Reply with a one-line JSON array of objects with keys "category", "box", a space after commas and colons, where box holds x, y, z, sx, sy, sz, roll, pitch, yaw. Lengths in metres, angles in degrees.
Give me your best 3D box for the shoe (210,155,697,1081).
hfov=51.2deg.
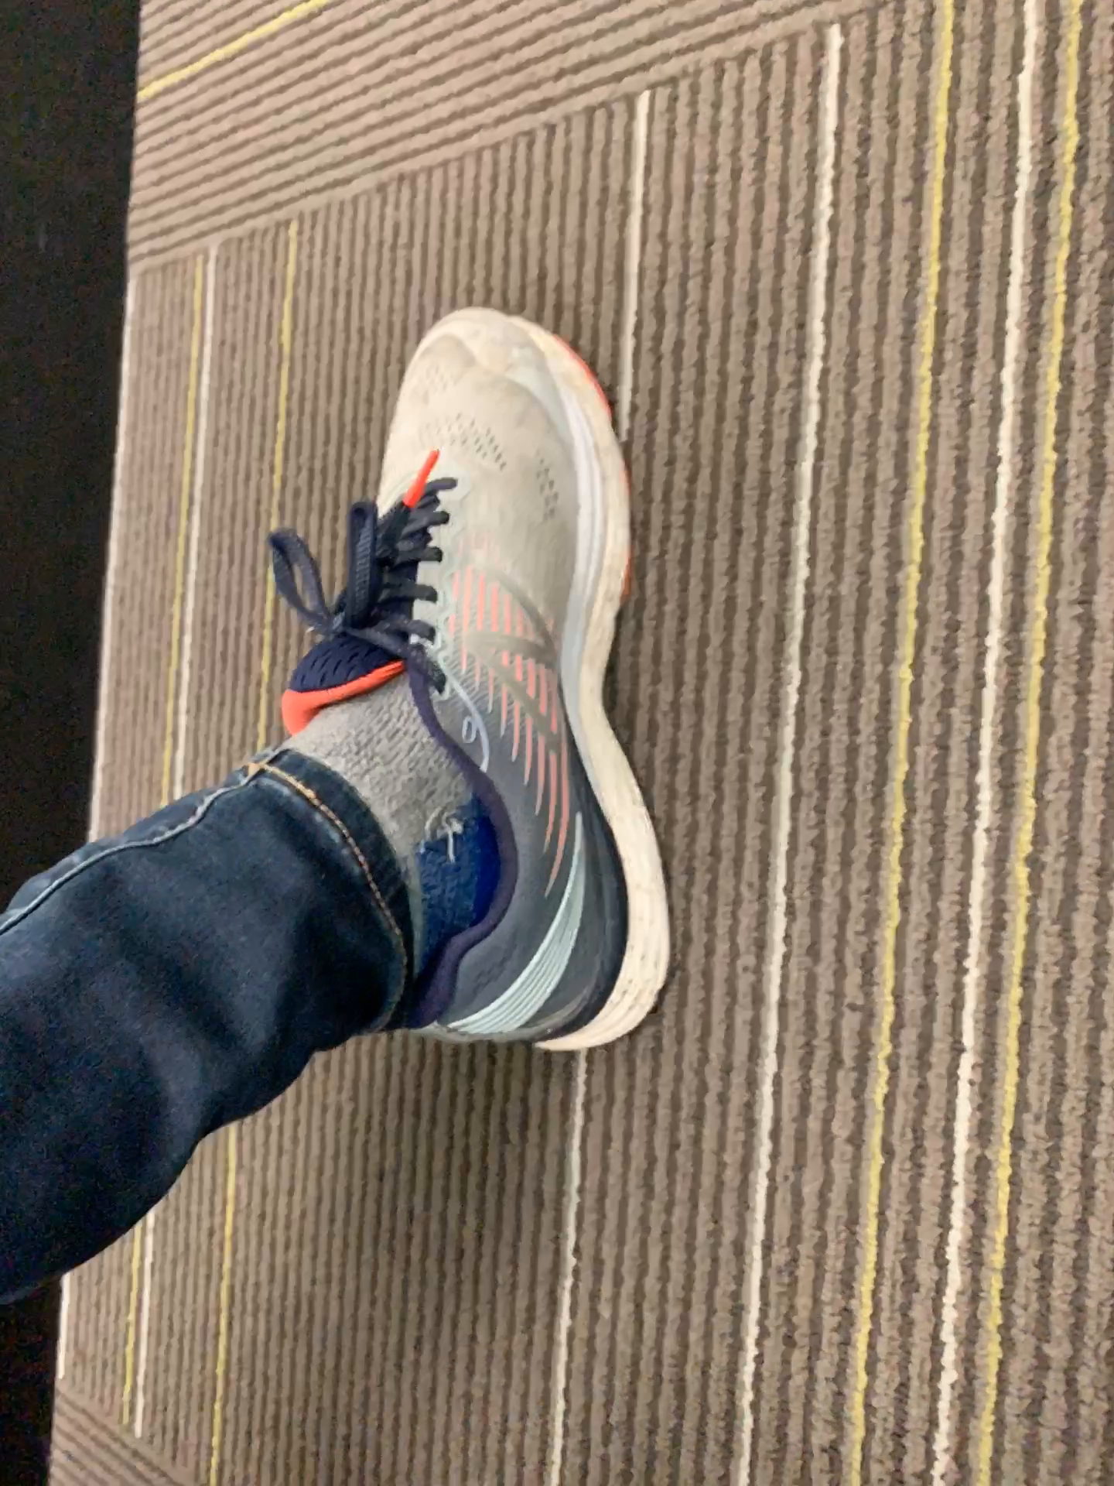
[{"category": "shoe", "box": [-0.039, -0.032, 0.398, 0.111, 0.089, 0.270, -12, 80, 38]}]
